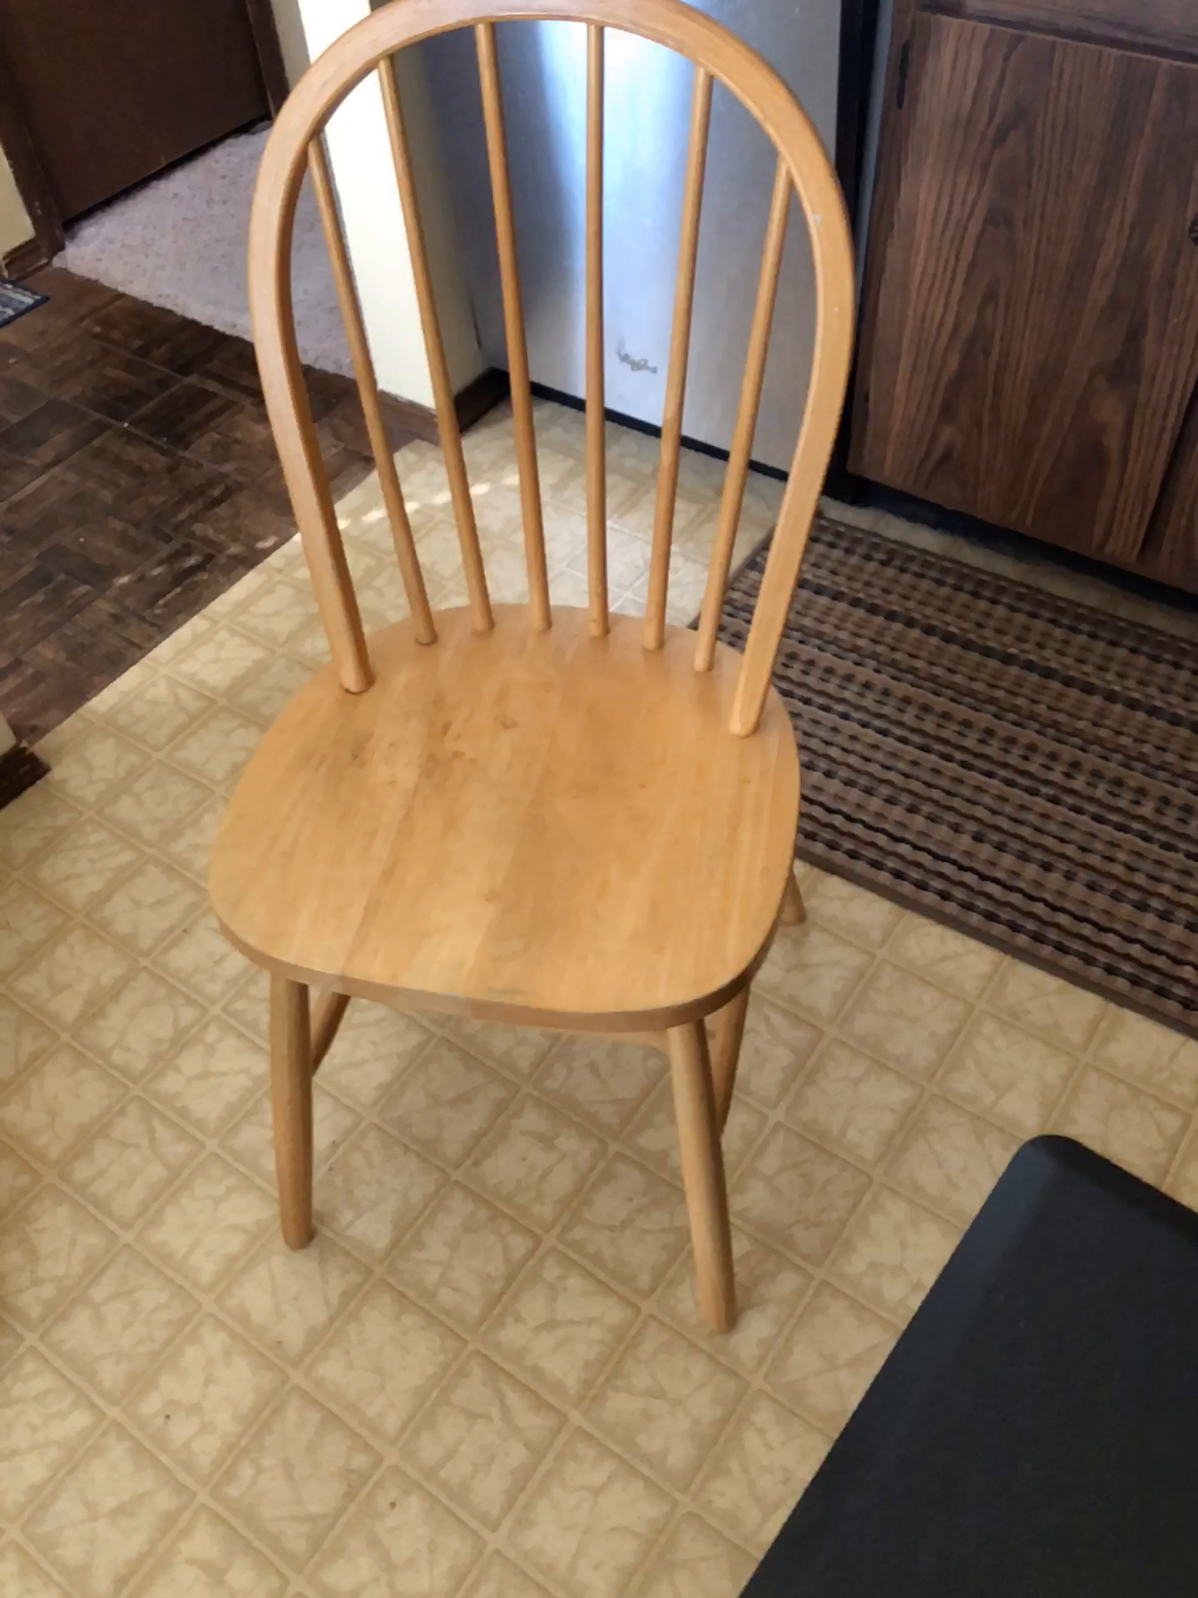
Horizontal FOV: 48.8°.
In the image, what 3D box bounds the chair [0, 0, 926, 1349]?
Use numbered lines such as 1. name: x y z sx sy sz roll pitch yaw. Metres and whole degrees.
1. chair: -0.058 -0.064 1.003 0.460 0.899 0.561 7 50 10
